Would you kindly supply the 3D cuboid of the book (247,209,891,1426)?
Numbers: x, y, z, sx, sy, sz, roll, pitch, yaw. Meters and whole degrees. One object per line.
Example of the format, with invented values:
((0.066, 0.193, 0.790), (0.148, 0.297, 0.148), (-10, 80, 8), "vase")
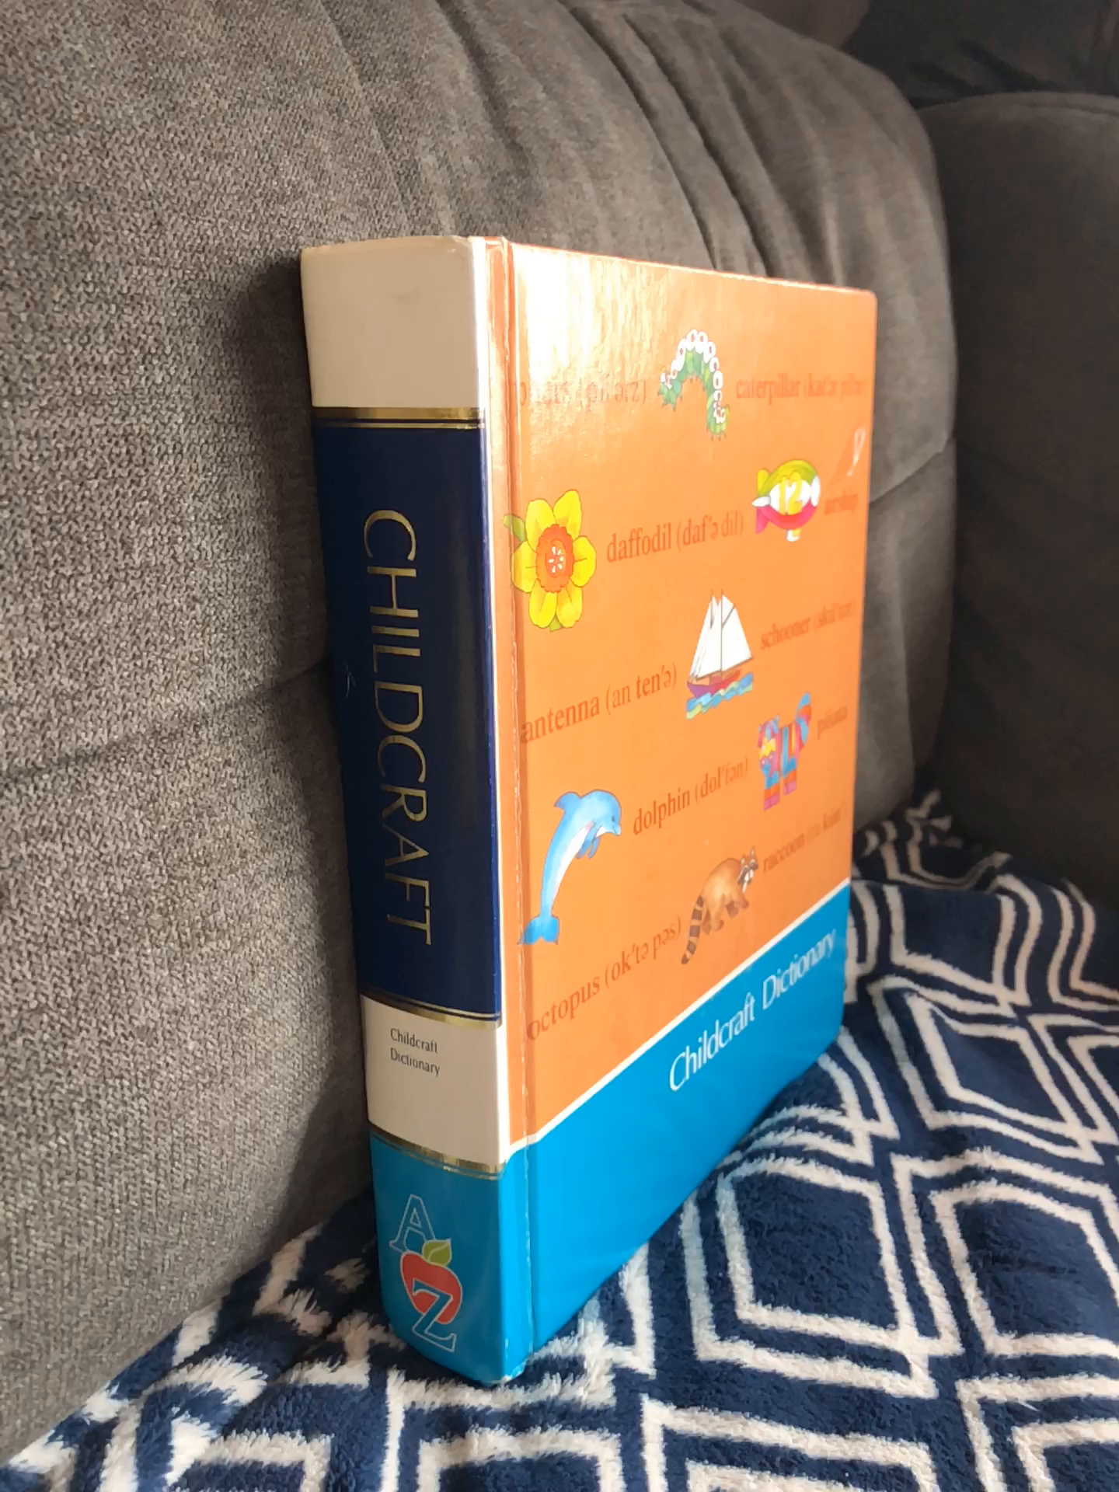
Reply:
((0.022, 0.002, 0.351), (0.055, 0.260, 0.210), (9, 19, 33), "book")
